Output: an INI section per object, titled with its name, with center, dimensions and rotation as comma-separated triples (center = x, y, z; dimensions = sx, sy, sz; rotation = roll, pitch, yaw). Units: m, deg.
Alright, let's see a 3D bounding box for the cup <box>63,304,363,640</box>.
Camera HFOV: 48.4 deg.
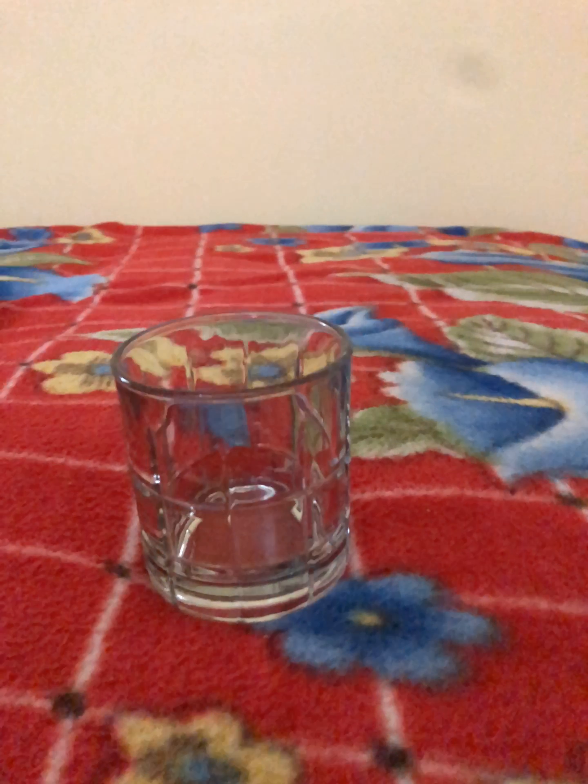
[cup]
center = -0.022, 0.023, 0.238
dimensions = 0.083, 0.088, 0.084
rotation = -2, 23, 1
